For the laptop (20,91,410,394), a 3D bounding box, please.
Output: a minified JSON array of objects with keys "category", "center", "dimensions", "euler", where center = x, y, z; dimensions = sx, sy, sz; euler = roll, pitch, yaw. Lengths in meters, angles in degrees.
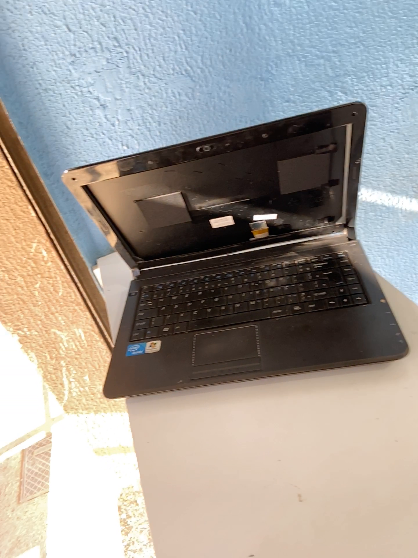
[{"category":"laptop","center":[0.020,-0.040,0.493],"dimensions":[0.330,0.206,0.207],"euler":[-10,36,10]}]
